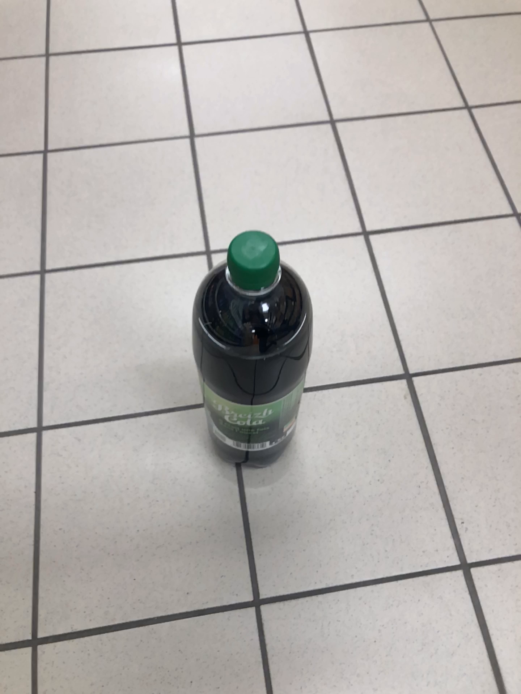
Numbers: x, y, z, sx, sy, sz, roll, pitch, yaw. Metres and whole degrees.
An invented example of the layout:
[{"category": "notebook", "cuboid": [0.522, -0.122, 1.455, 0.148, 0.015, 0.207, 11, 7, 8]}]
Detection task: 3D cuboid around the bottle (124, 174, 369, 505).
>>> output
[{"category": "bottle", "cuboid": [-0.008, 0.023, 0.462, 0.100, 0.299, 0.100, 0, 62, 0]}]
